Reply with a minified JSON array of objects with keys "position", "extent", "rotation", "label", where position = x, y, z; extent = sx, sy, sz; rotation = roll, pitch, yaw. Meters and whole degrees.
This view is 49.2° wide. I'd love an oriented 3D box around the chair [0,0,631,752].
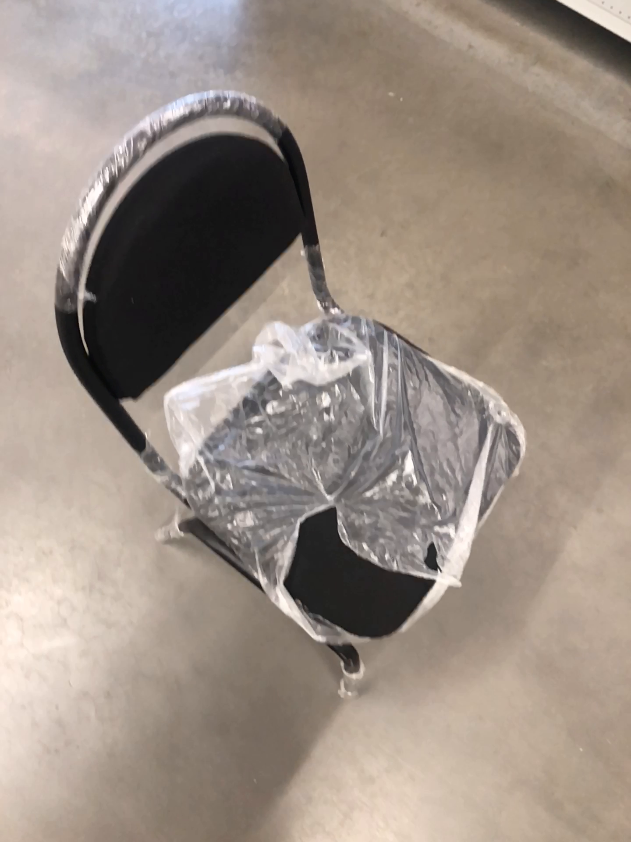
[{"position":[0.013,0.047,0.989],"extent":[0.550,0.877,0.451],"rotation":[37,72,10],"label":"chair"}]
